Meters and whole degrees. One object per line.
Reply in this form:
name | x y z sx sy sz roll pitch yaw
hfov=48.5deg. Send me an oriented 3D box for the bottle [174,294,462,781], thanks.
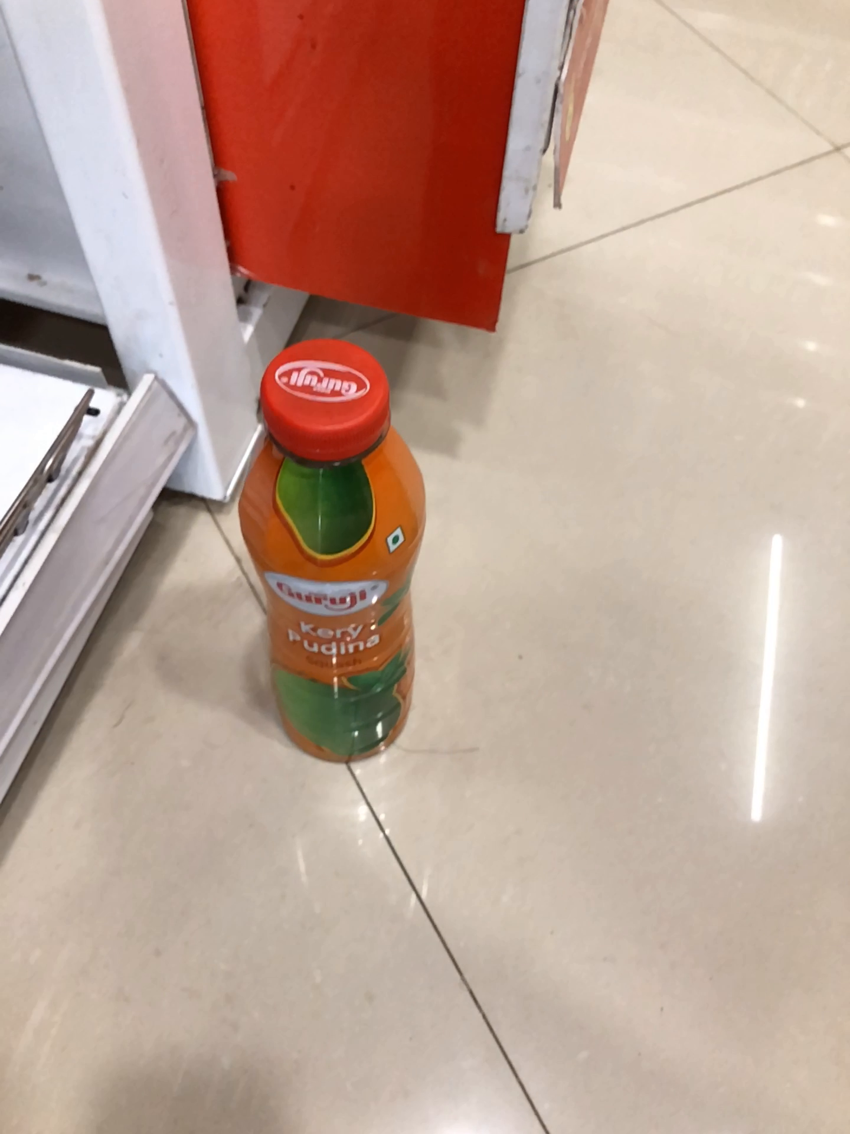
bottle | -0.034 0.009 0.389 0.080 0.239 0.080 1 59 -2
